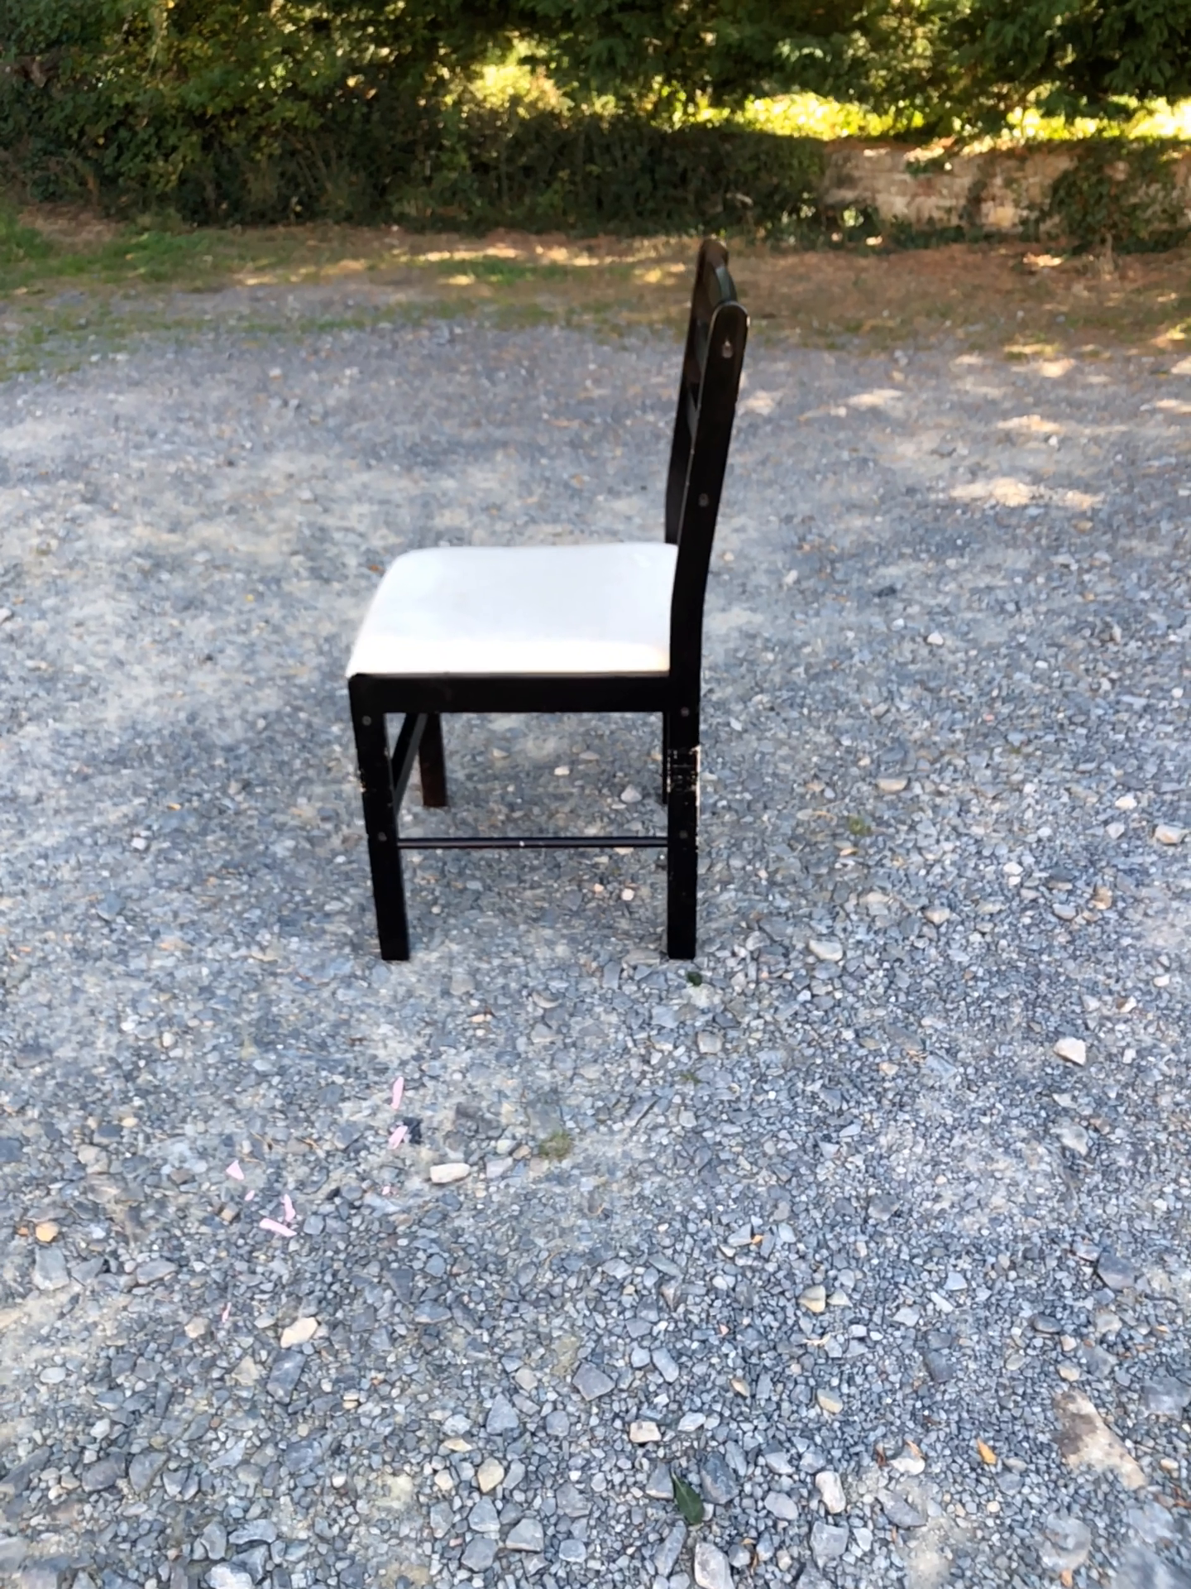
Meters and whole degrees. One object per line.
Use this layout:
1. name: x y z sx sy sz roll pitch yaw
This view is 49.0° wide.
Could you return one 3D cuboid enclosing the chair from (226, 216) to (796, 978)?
1. chair: -0.065 -0.253 1.652 0.530 0.775 0.543 -2 33 1
